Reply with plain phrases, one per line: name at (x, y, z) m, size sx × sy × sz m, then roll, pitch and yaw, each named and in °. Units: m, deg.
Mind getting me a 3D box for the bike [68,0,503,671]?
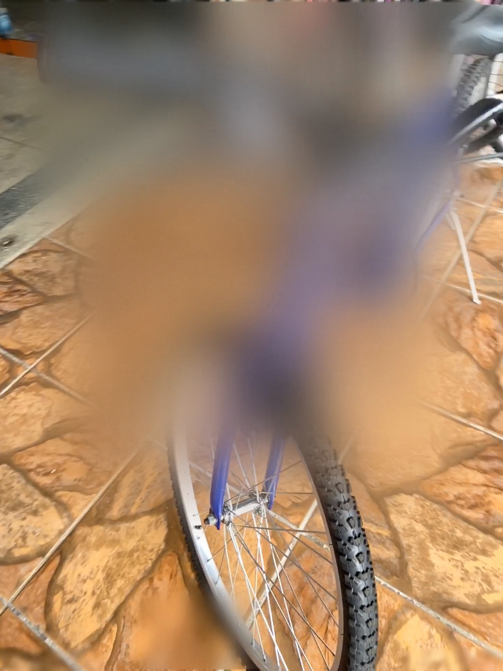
bike at (0.440, -0.144, 0.989) m, size 0.572 × 1.013 × 1.532 m, roll 12°, pitch 53°, yaw 19°
